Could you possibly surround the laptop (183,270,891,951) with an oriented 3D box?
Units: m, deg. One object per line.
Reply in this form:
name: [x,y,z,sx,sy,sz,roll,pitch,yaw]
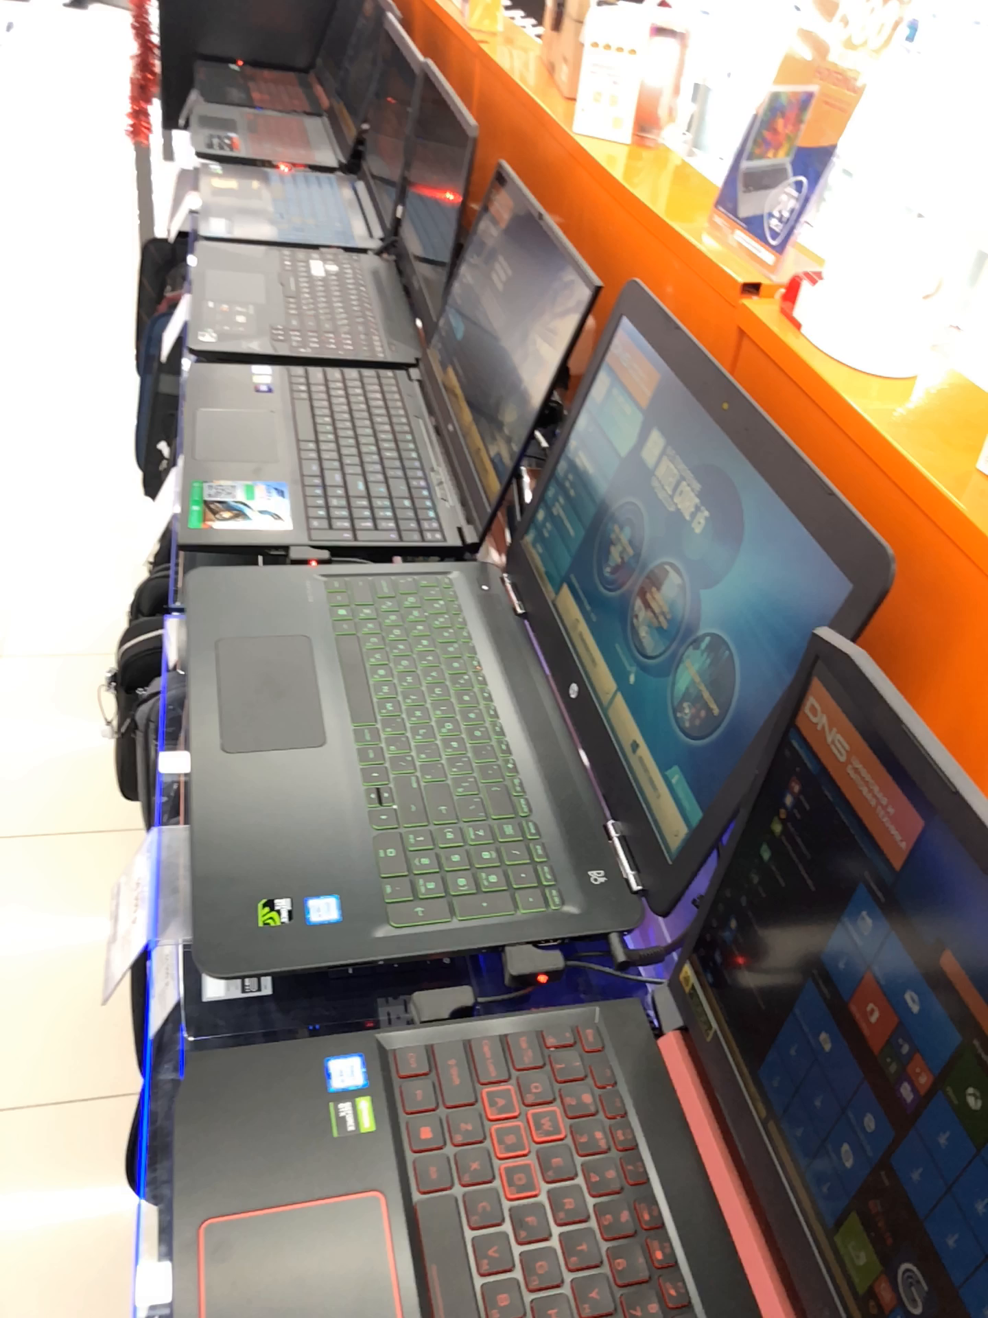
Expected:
laptop: [-0.025,-0.055,0.666,0.311,0.235,0.359,-2,36,-15]
